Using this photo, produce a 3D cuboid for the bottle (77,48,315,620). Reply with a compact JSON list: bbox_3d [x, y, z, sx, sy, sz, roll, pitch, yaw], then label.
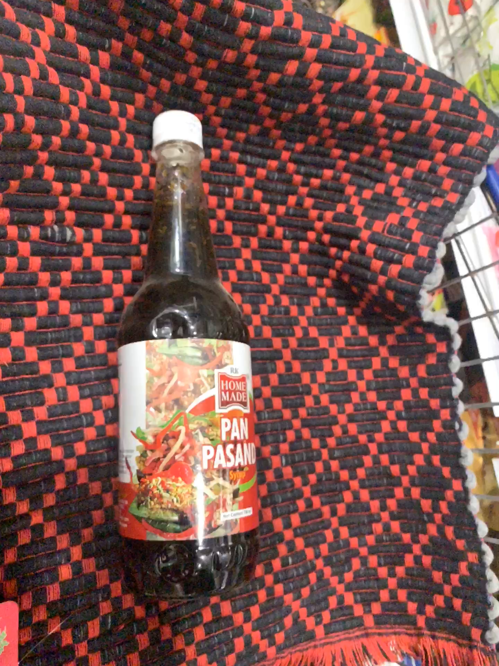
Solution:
[{"bbox_3d":[-0.042,-0.007,0.298,0.090,0.080,0.280,4,71,-30],"label":"bottle"}]
